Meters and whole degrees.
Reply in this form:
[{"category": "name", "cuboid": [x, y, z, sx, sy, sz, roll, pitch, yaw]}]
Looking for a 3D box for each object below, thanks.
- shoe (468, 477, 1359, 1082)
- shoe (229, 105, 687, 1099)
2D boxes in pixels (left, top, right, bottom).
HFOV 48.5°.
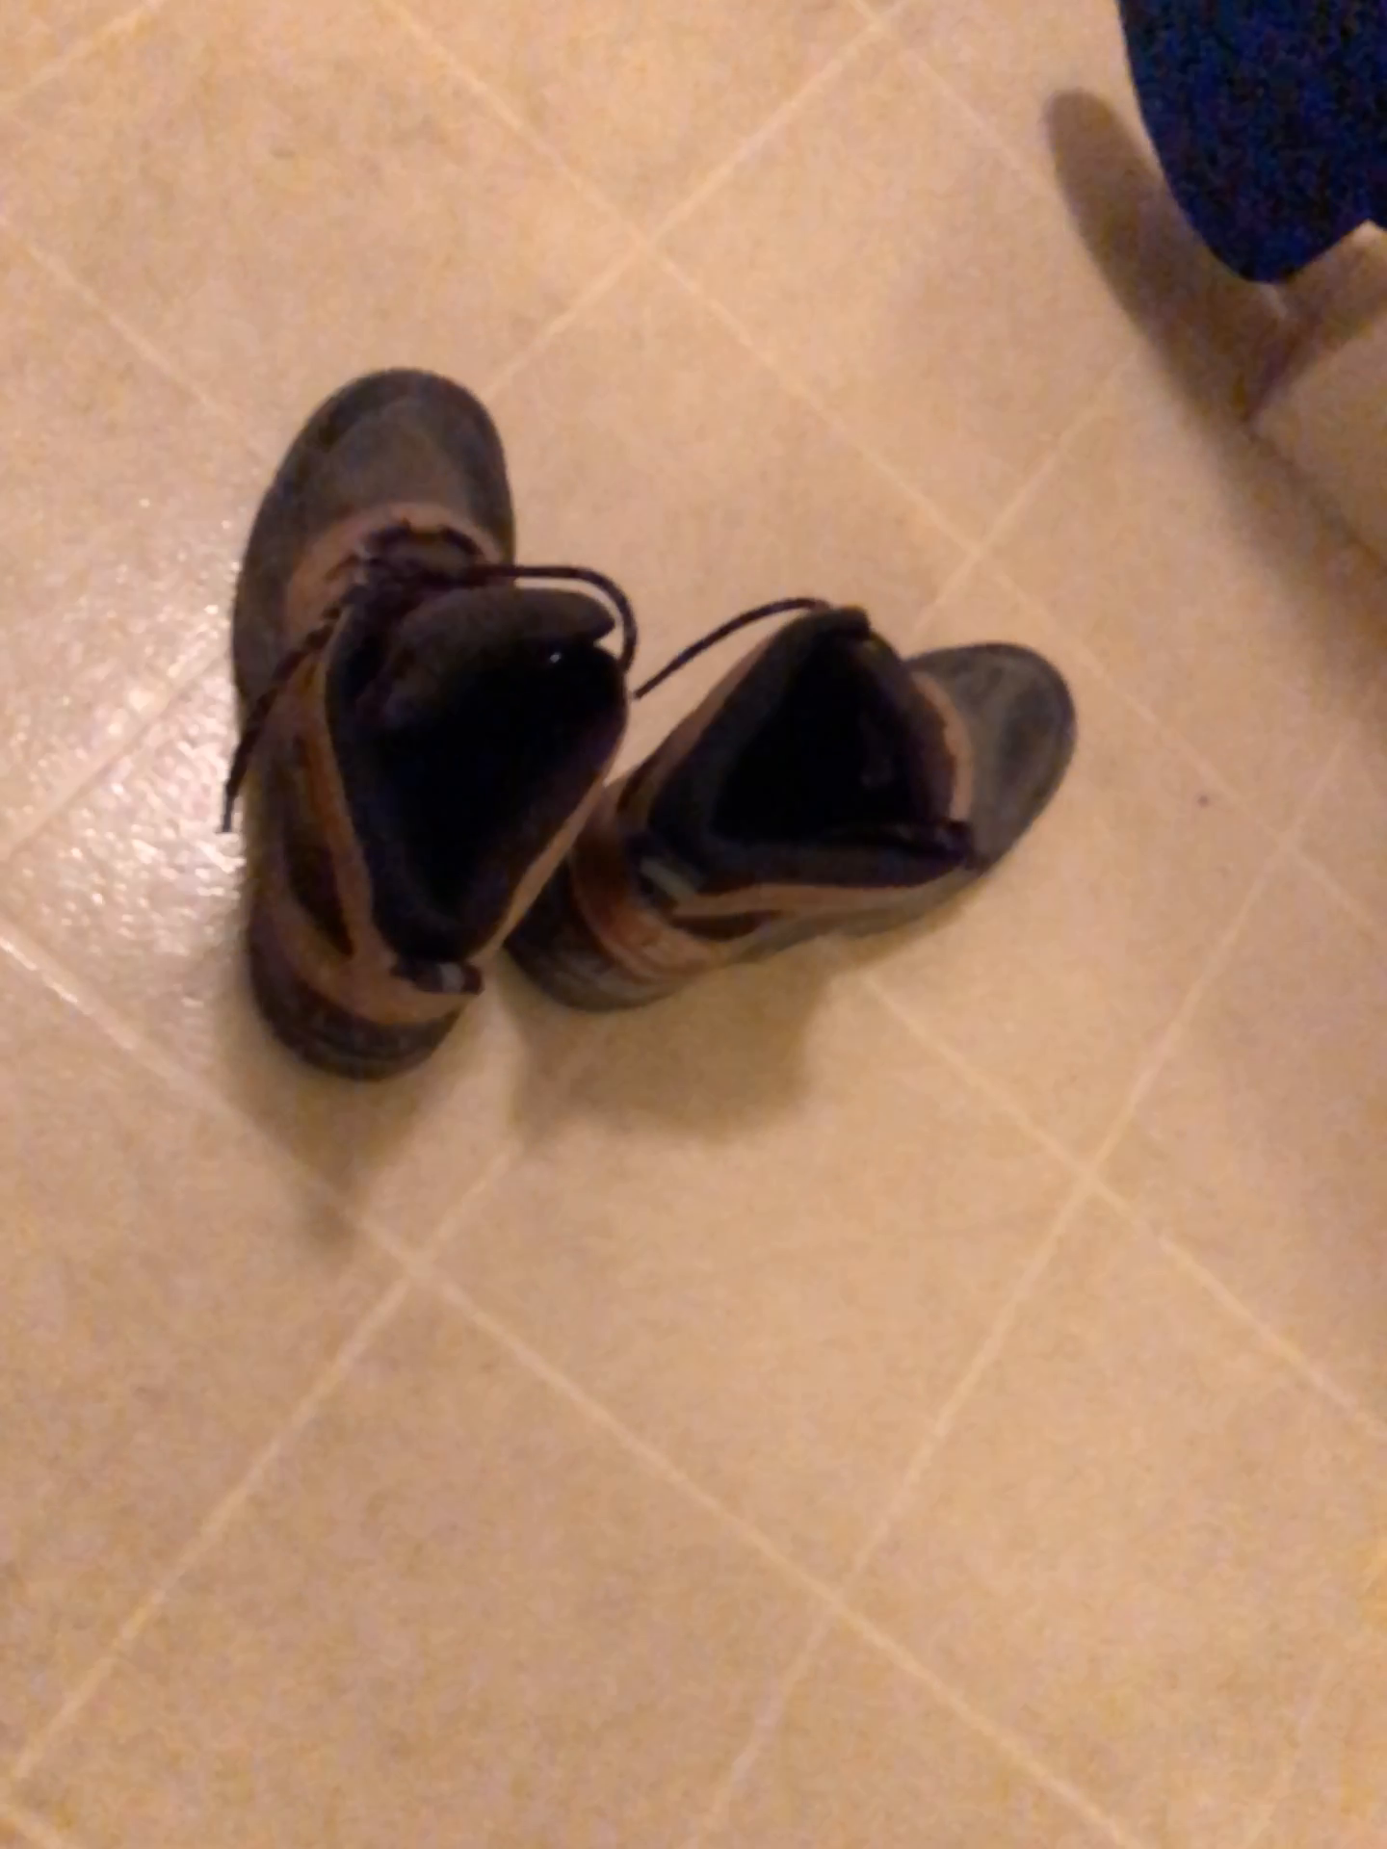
[{"category": "shoe", "cuboid": [0.082, -0.056, 0.632, 0.293, 0.185, 0.113, -22, 86, -25]}, {"category": "shoe", "cuboid": [-0.093, -0.098, 0.574, 0.122, 0.185, 0.300, 5, 75, -20]}]
